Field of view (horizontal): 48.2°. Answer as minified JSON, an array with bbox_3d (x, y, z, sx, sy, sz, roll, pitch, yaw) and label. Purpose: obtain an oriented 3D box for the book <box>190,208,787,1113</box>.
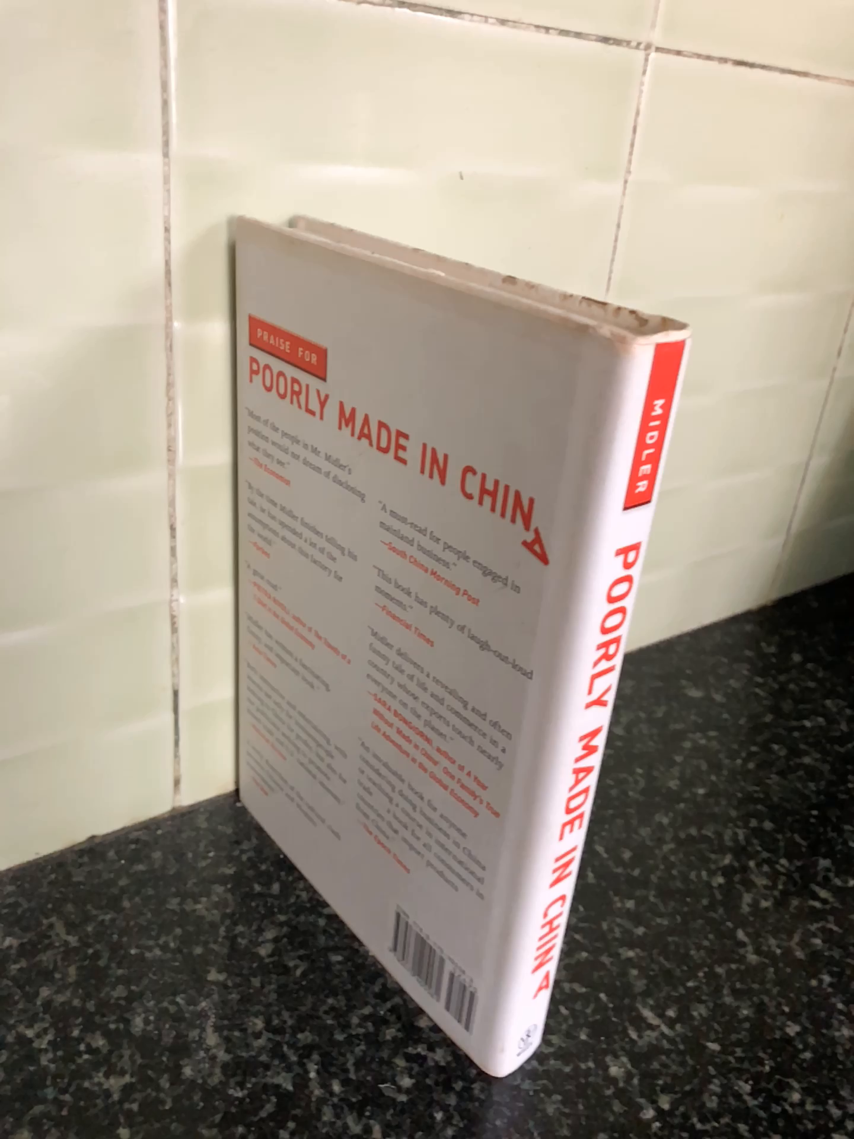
[{"bbox_3d":[-0.011,0.016,0.302,0.040,0.219,0.190,-16,34,-38],"label":"book"}]
